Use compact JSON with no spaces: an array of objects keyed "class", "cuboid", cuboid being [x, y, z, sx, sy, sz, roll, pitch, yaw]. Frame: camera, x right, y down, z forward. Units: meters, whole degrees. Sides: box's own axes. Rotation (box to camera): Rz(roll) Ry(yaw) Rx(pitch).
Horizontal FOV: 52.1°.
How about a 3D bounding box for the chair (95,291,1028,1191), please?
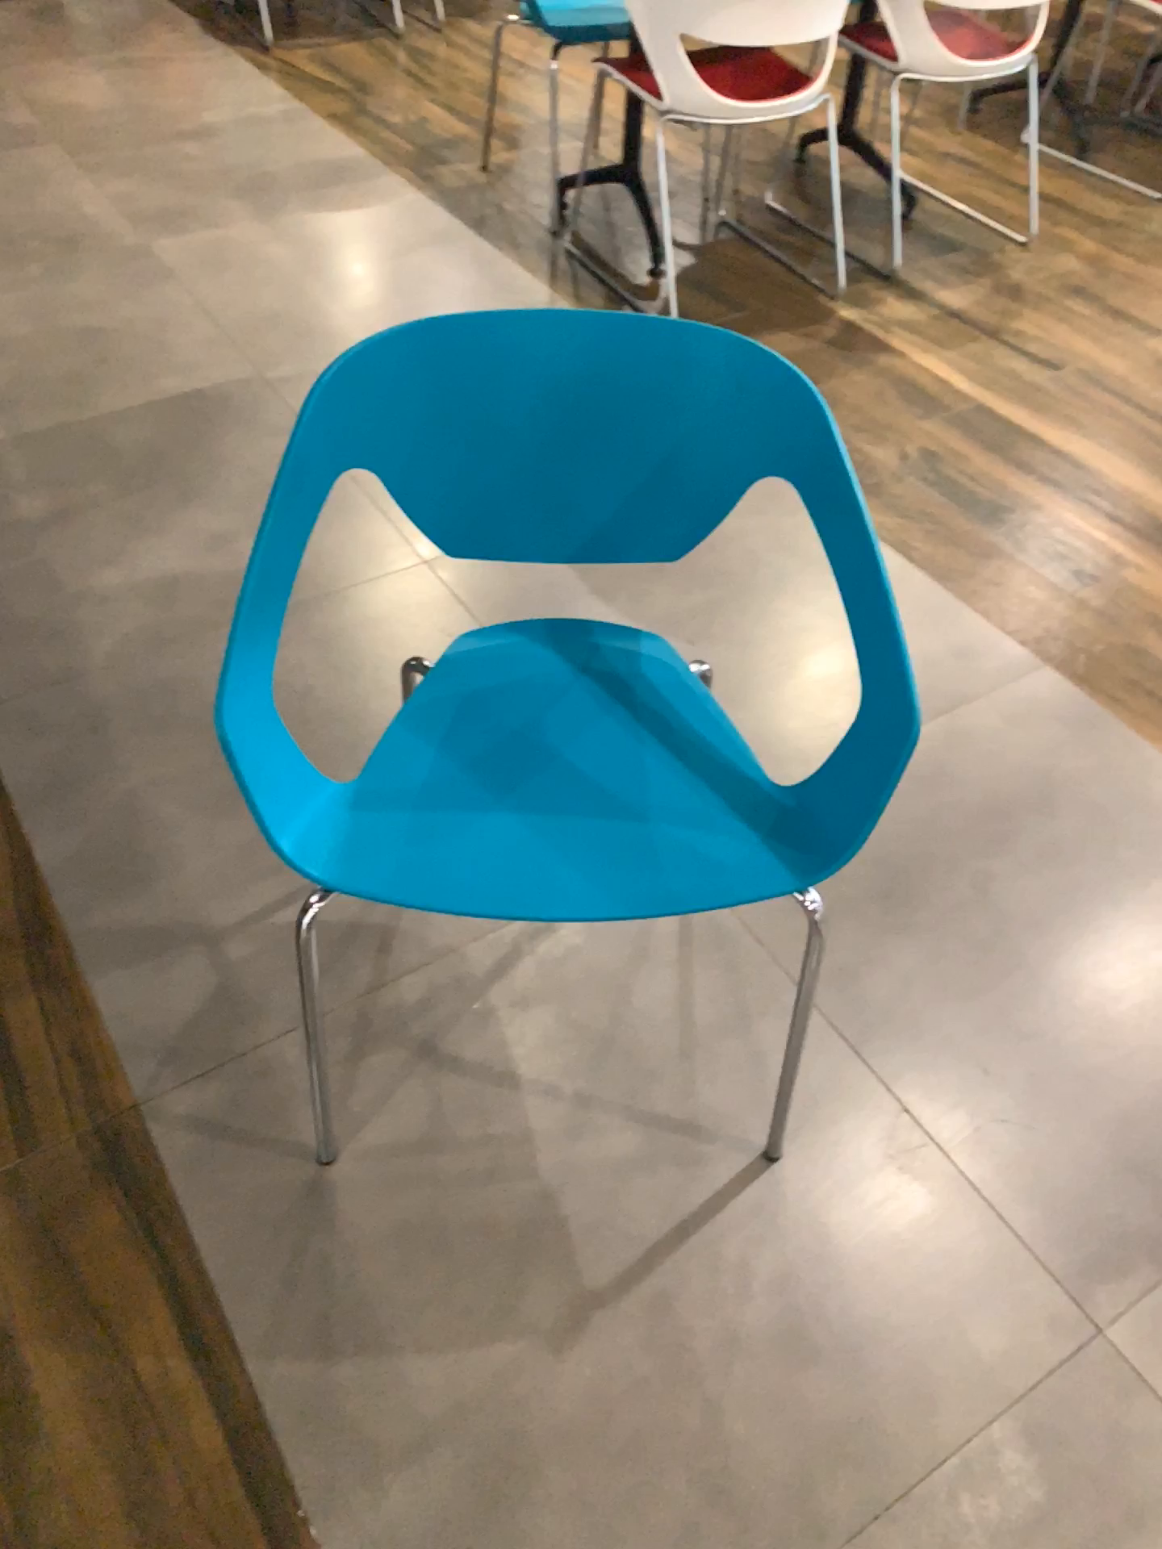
[{"class":"chair","cuboid":[-0.025,-0.013,1.244,0.610,0.724,0.595,1,46,-2]}]
